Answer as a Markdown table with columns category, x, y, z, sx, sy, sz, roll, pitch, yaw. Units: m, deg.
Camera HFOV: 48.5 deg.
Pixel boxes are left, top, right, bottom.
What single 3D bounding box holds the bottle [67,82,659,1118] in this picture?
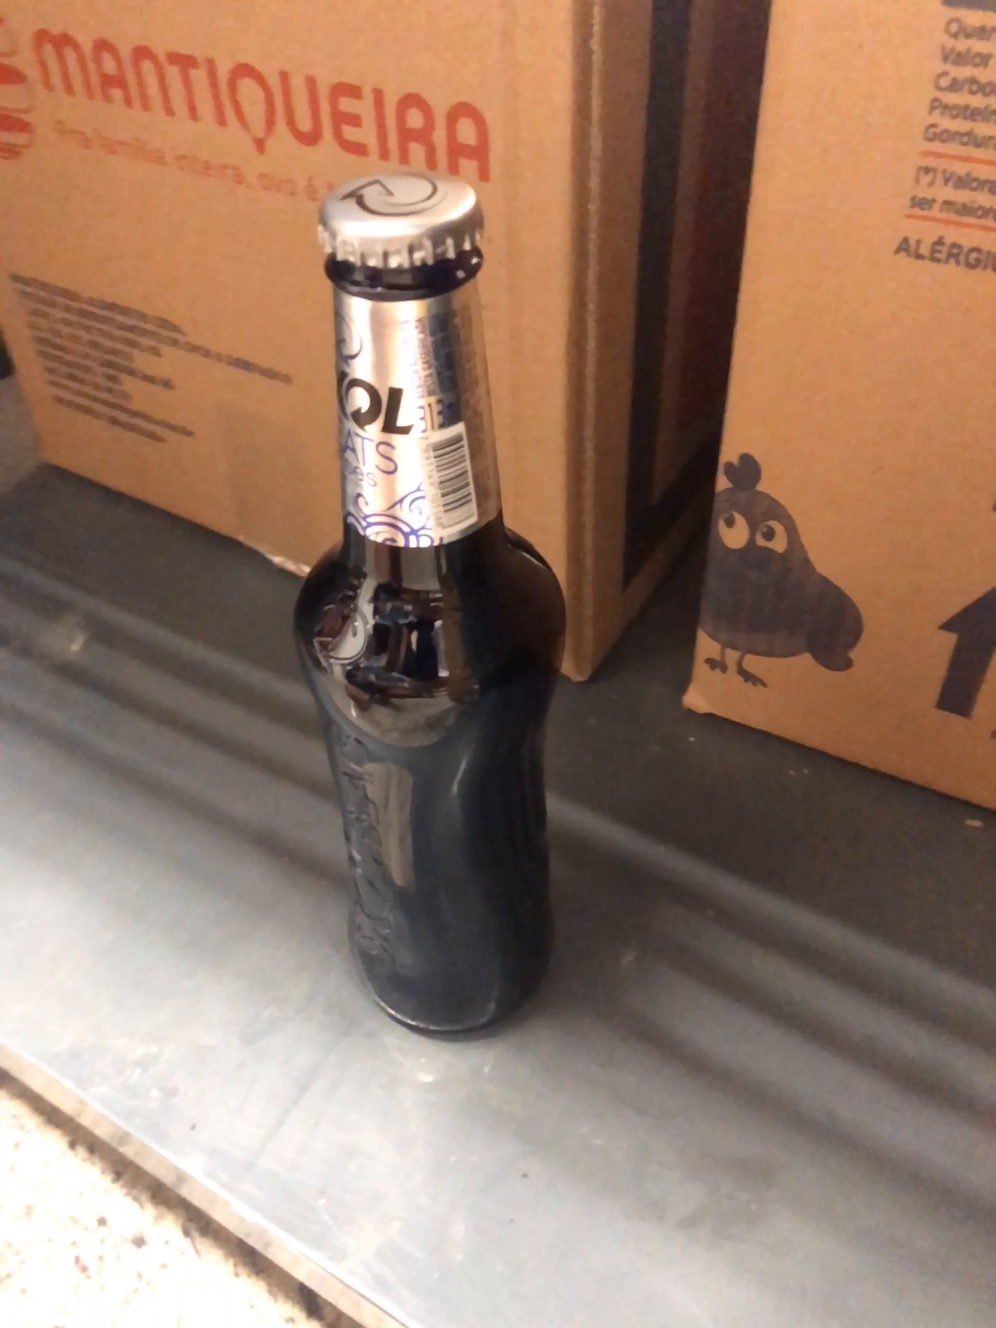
| category | x | y | z | sx | sy | sz | roll | pitch | yaw |
| --- | --- | --- | --- | --- | --- | --- | --- | --- | --- |
| bottle | -0.016 | 0.005 | 0.264 | 0.070 | 0.238 | 0.070 | -2 | 42 | 2 |
